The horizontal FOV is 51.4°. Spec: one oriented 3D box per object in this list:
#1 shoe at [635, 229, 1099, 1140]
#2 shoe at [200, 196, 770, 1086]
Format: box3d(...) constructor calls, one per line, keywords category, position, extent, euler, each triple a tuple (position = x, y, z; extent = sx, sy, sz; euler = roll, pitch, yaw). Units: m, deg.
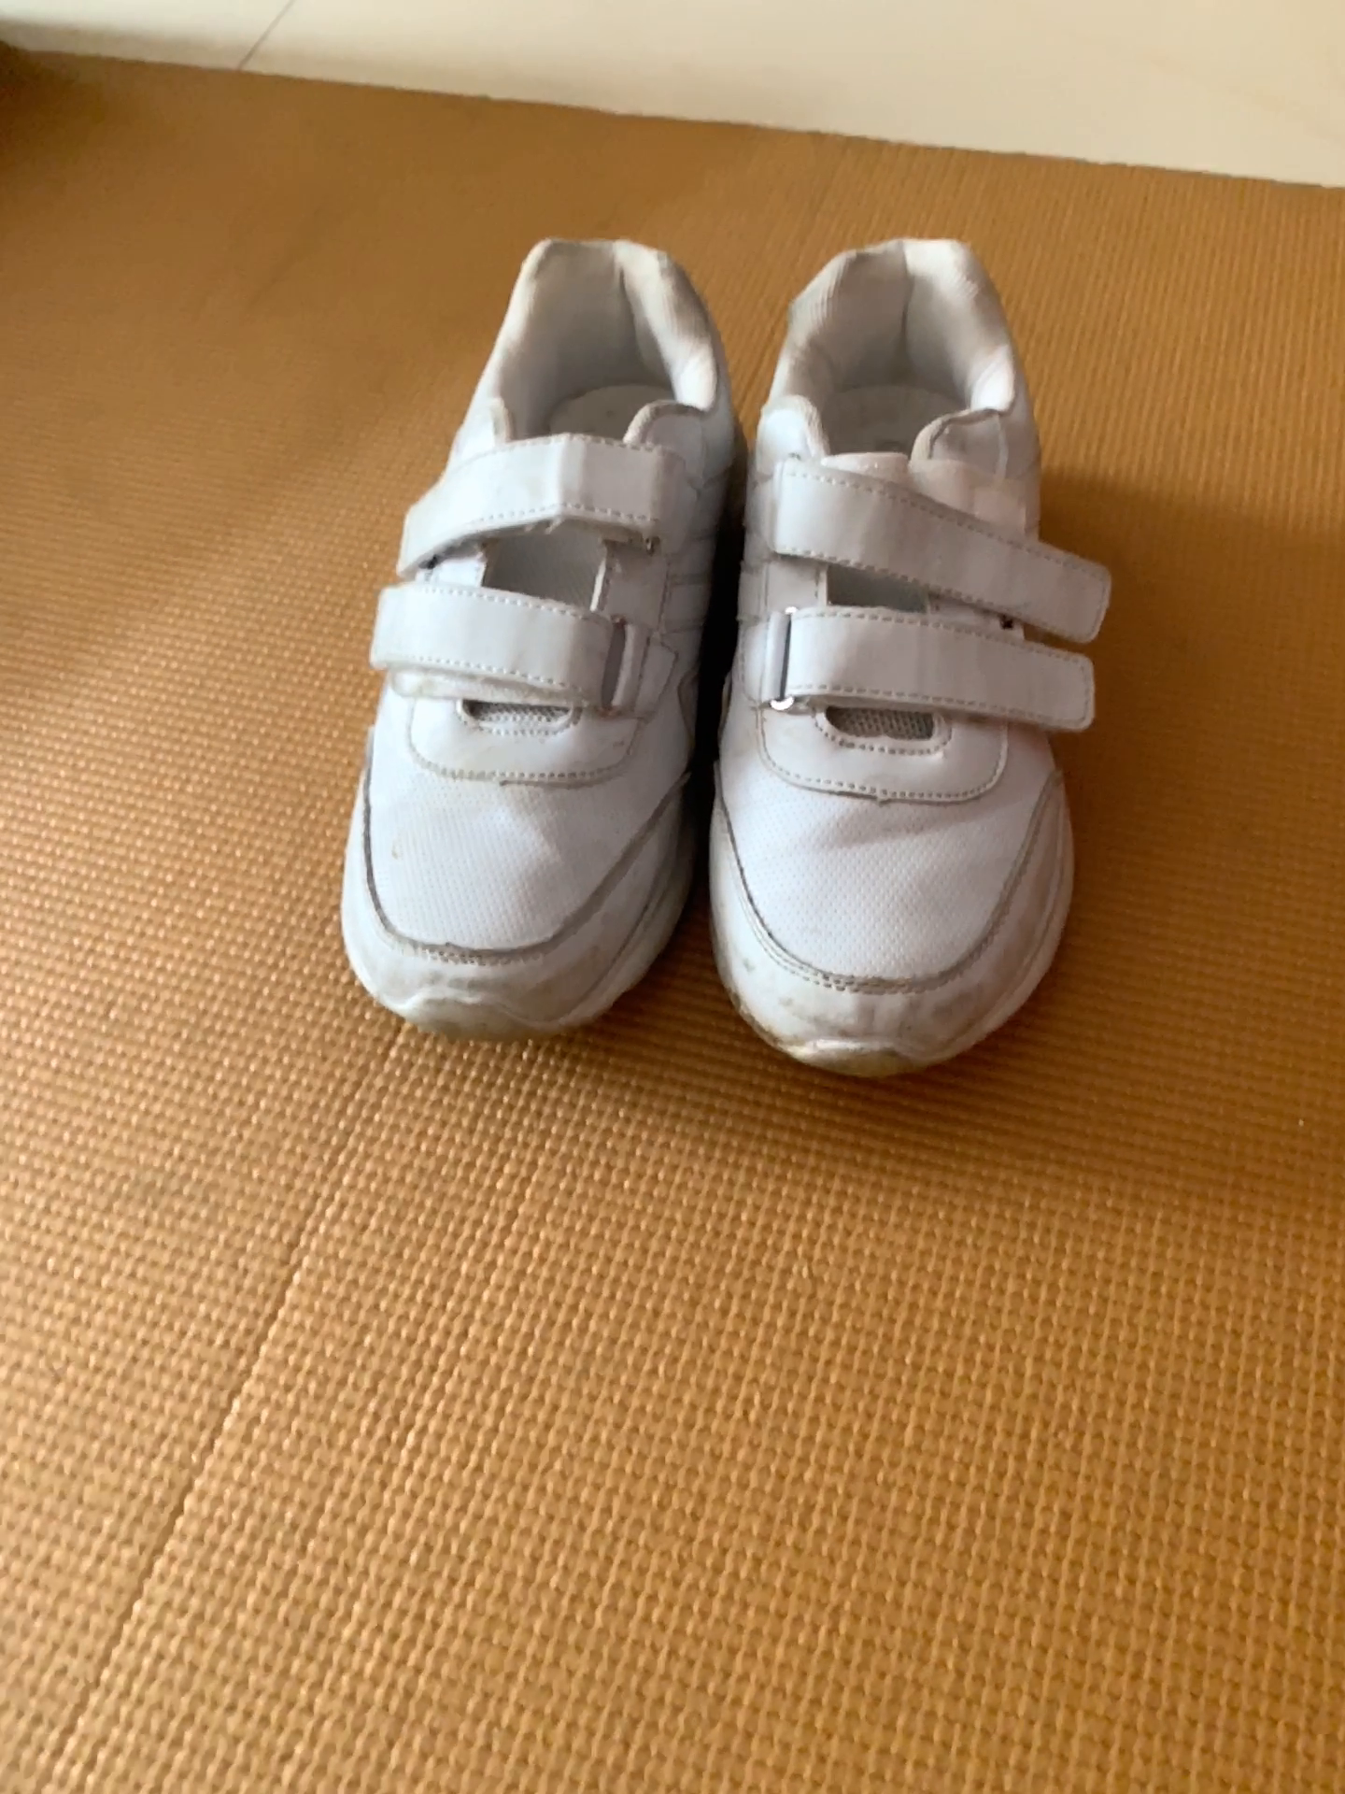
box3d(category="shoe", position=(0.060, -0.071, 0.371), extent=(0.090, 0.070, 0.252), euler=(6, 57, 8))
box3d(category="shoe", position=(-0.033, -0.082, 0.397), extent=(0.090, 0.099, 0.241), euler=(6, 57, 8))
